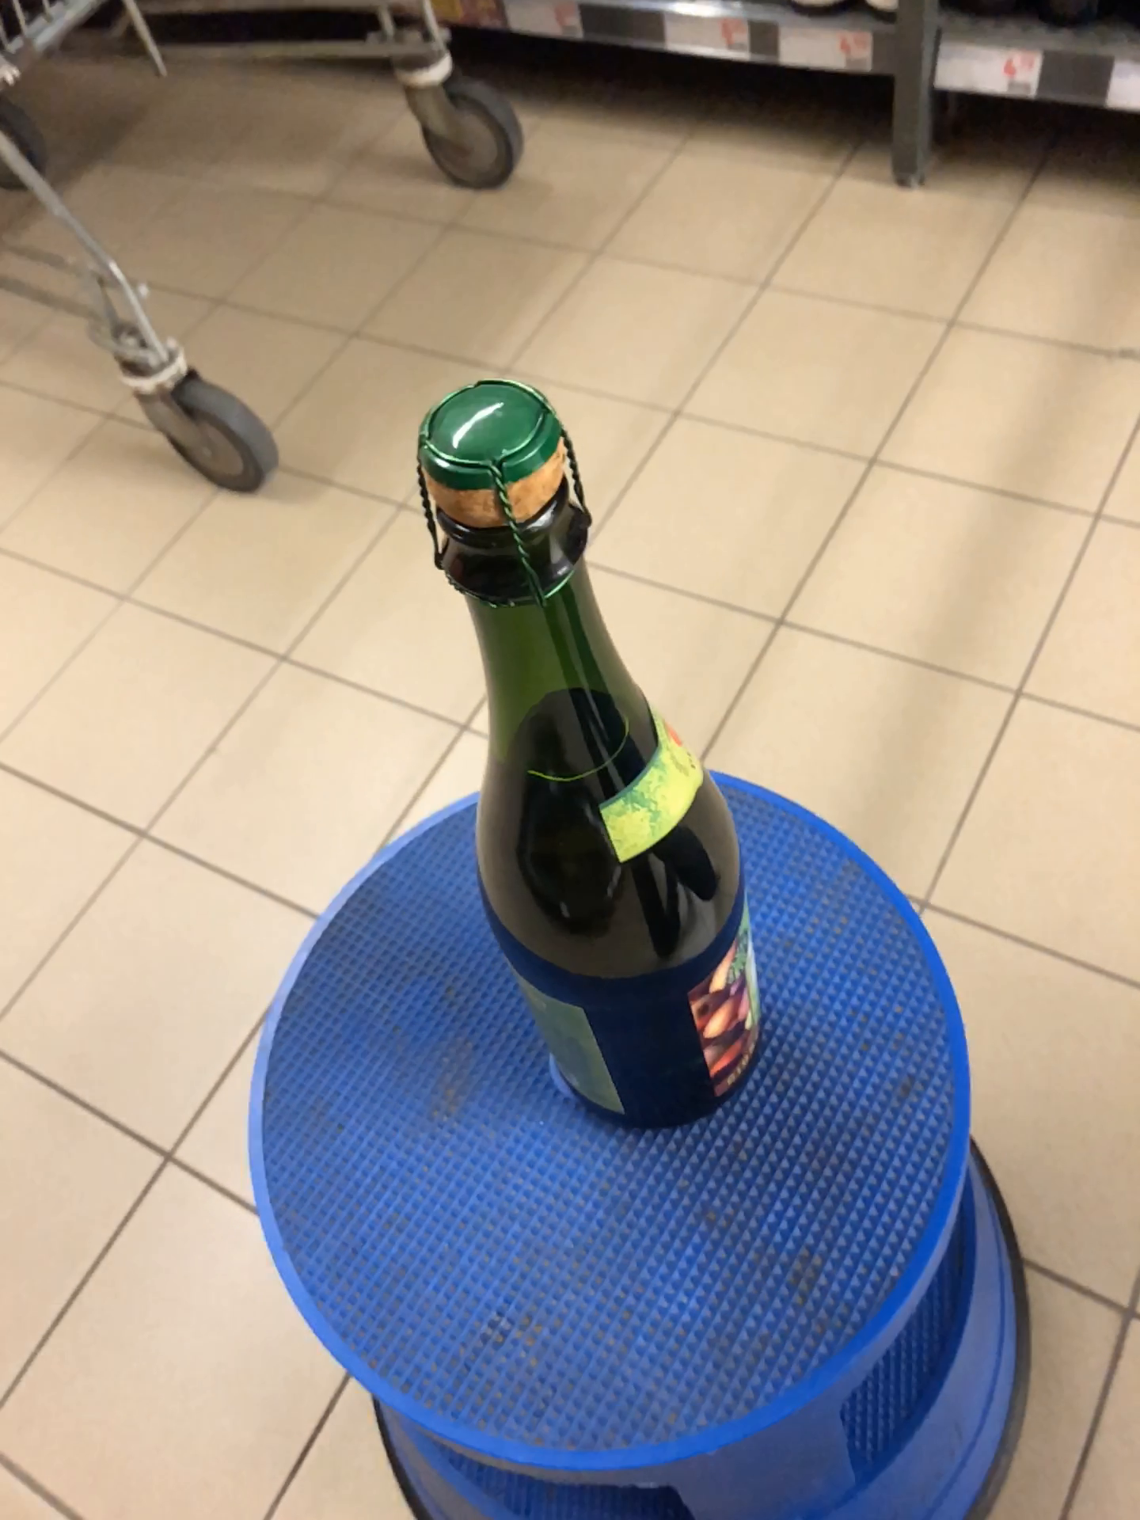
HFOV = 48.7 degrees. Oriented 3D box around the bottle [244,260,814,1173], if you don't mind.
[{"bbox_3d":[0.009,0.021,0.362,0.090,0.289,0.090,-6,55,9],"label":"bottle"}]
